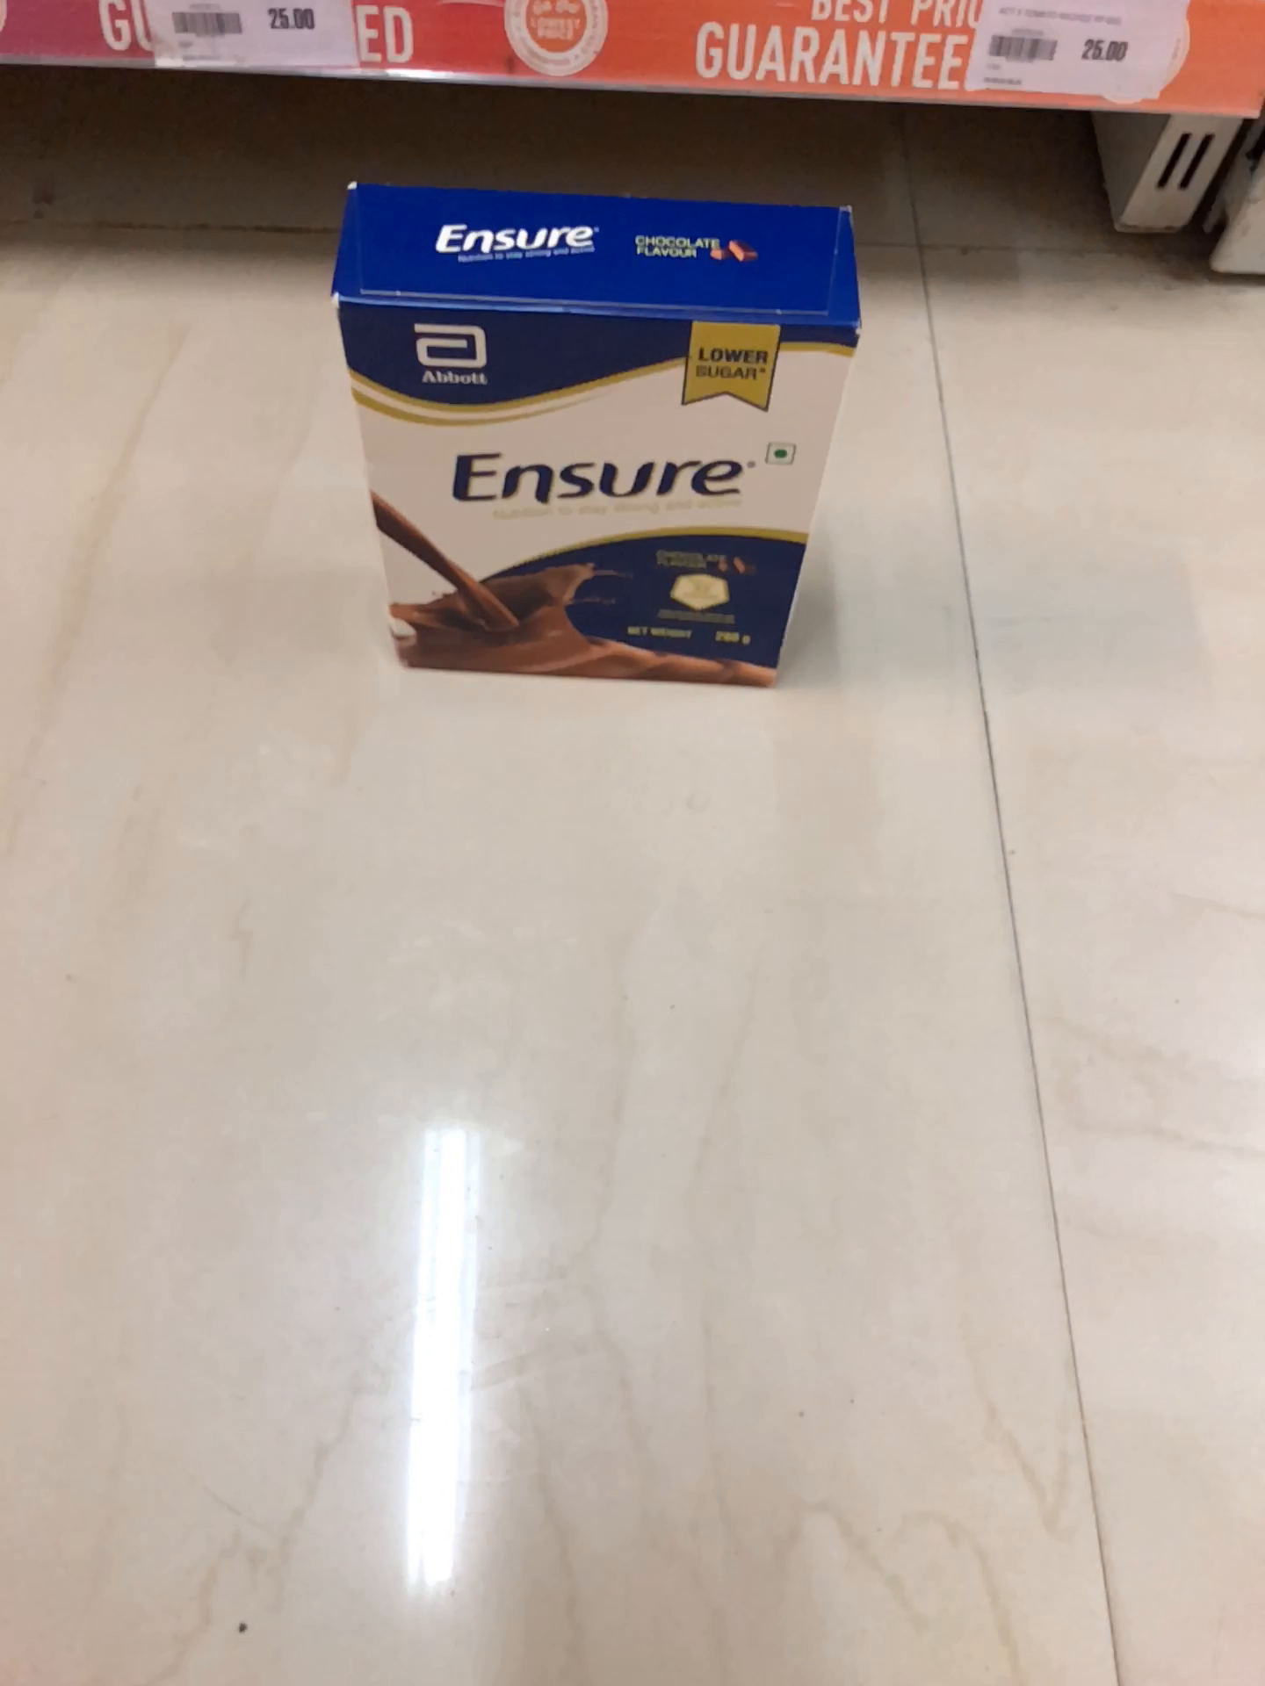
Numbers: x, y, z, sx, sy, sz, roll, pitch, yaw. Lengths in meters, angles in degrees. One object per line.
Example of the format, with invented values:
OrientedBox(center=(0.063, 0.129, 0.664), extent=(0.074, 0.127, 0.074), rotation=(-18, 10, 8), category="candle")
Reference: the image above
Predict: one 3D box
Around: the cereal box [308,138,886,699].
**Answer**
OrientedBox(center=(-0.011, -0.116, 0.432), extent=(0.140, 0.179, 0.050), rotation=(3, 64, -2), category="cereal box")
